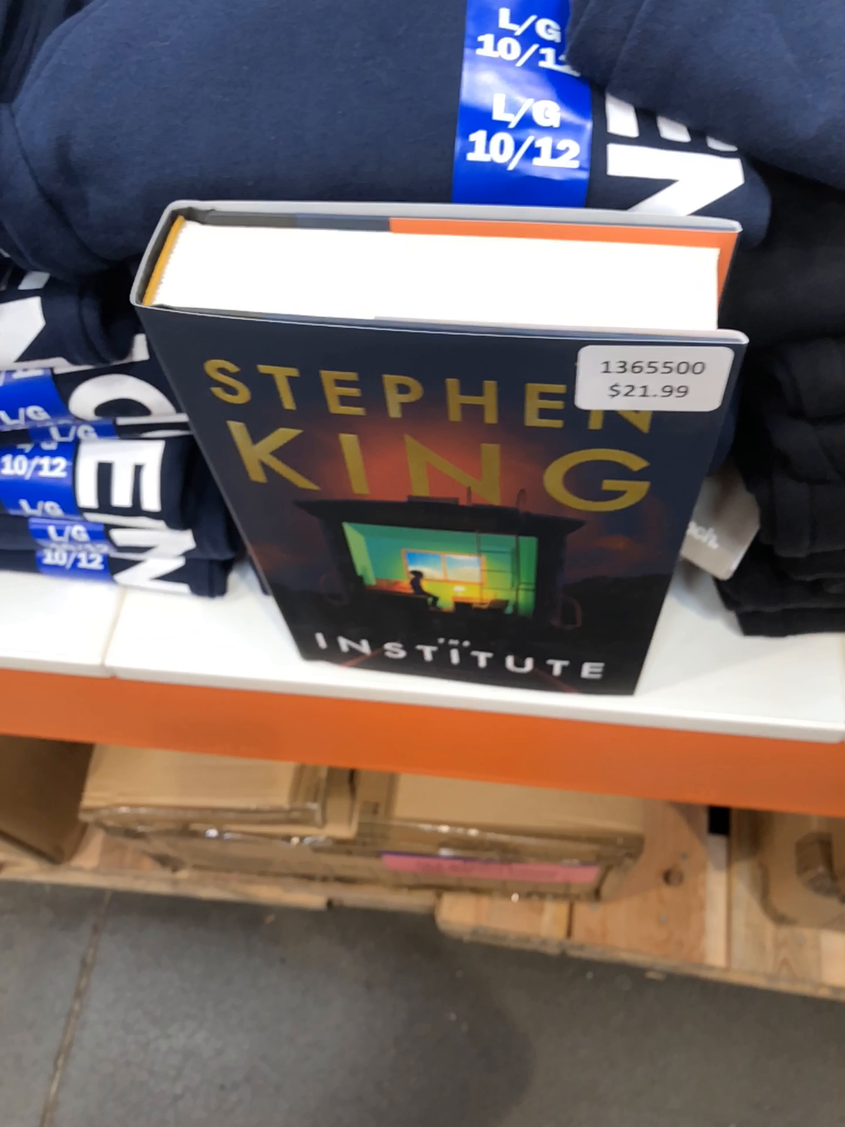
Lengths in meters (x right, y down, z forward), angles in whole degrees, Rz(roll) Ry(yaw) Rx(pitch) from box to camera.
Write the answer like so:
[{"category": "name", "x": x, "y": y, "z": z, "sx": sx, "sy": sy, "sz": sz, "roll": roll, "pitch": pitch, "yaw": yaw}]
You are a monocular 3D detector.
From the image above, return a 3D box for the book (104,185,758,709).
[{"category": "book", "x": 0.010, "y": -0.023, "z": 0.349, "sx": 0.167, "sy": 0.229, "sz": 0.050, "roll": 5, "pitch": 60, "yaw": 8}]
